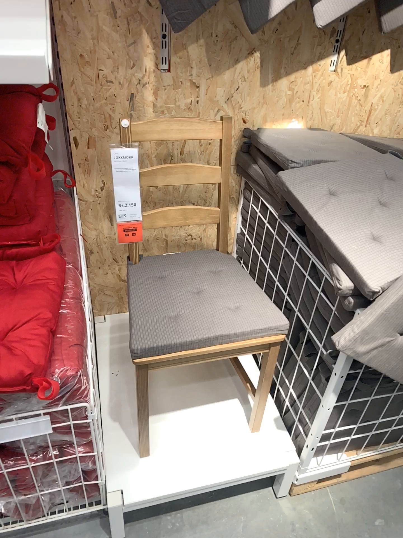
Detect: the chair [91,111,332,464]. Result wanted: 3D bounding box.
[{"bbox_3d":[-0.041,0.057,1.208,0.440,0.866,0.502,-7,37,-14],"label":"chair"}]
